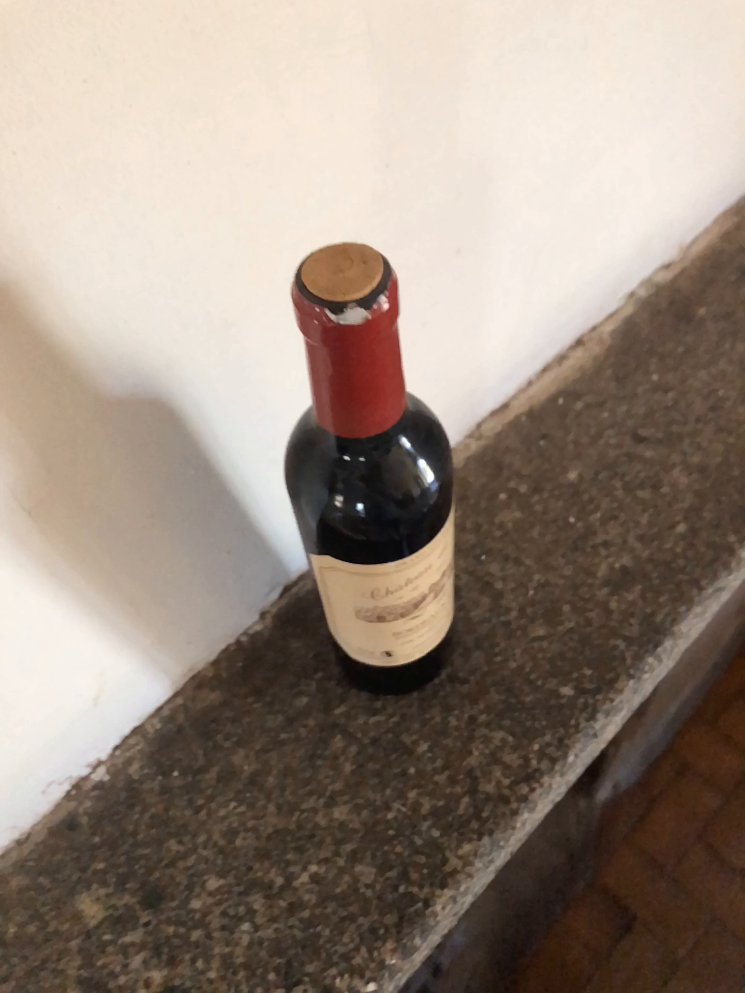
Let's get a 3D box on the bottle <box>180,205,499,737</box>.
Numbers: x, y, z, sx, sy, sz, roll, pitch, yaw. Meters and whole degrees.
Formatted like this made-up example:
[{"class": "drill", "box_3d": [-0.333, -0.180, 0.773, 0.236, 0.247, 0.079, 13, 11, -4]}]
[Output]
[{"class": "bottle", "box_3d": [0.004, 0.013, 0.310, 0.060, 0.229, 0.060, -3, 56, 5]}]
